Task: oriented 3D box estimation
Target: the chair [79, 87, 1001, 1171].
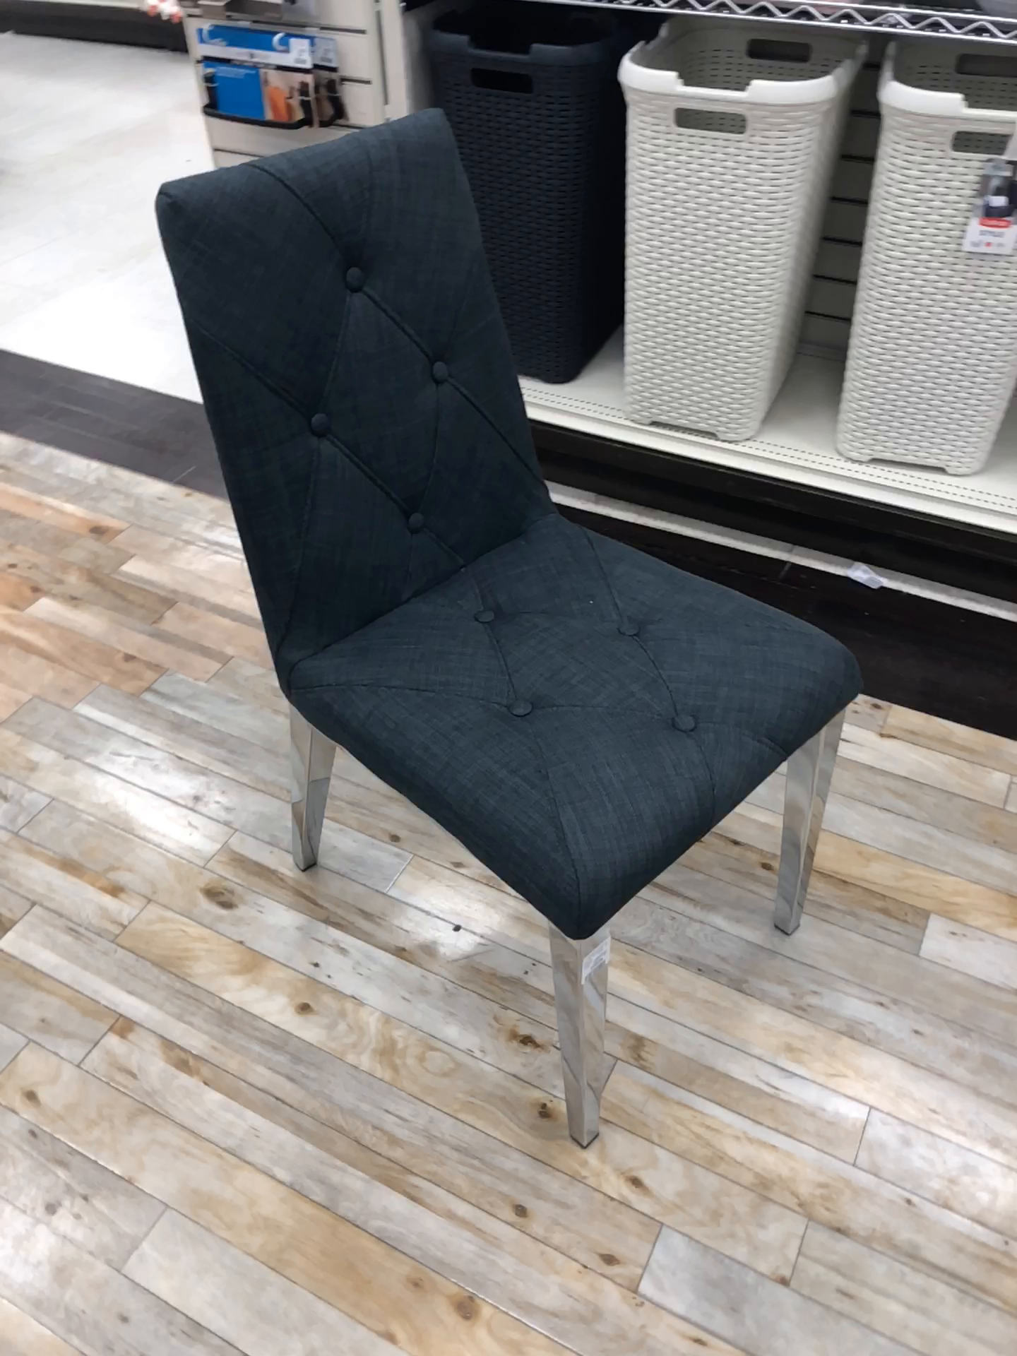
[{"bbox_3d":[0.018,-0.048,1.168,0.581,0.866,0.451,32,51,33],"label":"chair"}]
